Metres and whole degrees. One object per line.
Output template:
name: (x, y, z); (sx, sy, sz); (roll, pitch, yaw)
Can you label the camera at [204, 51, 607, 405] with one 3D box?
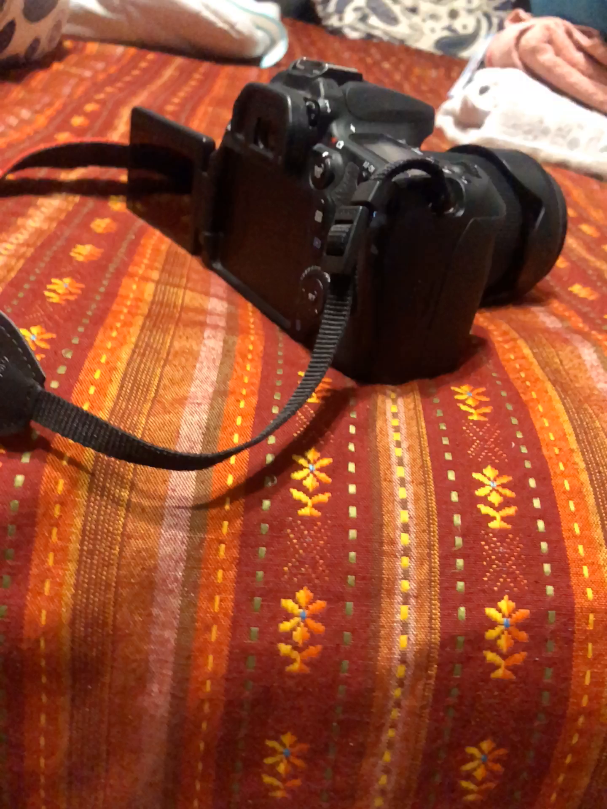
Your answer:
camera: (0.064, -0.095, 0.325); (0.171, 0.099, 0.131); (-16, 42, -35)
